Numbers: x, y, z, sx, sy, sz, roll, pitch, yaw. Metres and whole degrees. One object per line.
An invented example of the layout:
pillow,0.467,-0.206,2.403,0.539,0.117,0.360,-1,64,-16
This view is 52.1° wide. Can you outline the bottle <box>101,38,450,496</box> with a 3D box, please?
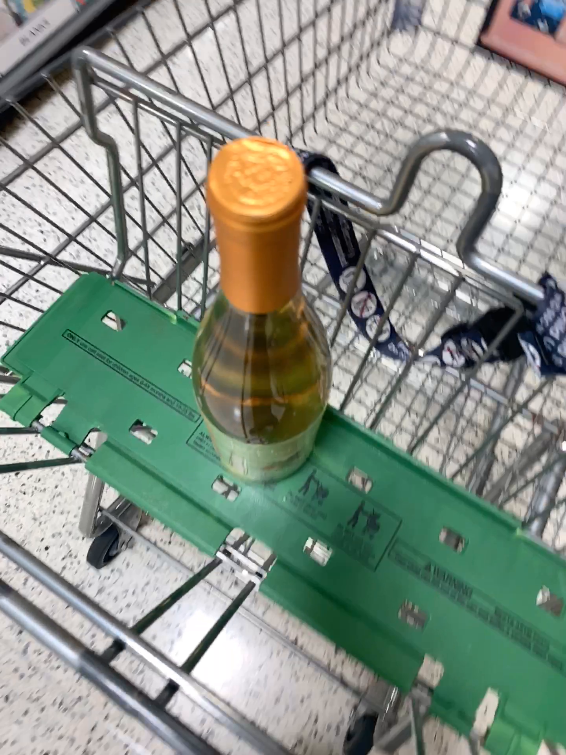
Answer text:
bottle,-0.010,-0.012,0.312,0.083,0.298,0.087,1,70,-2
